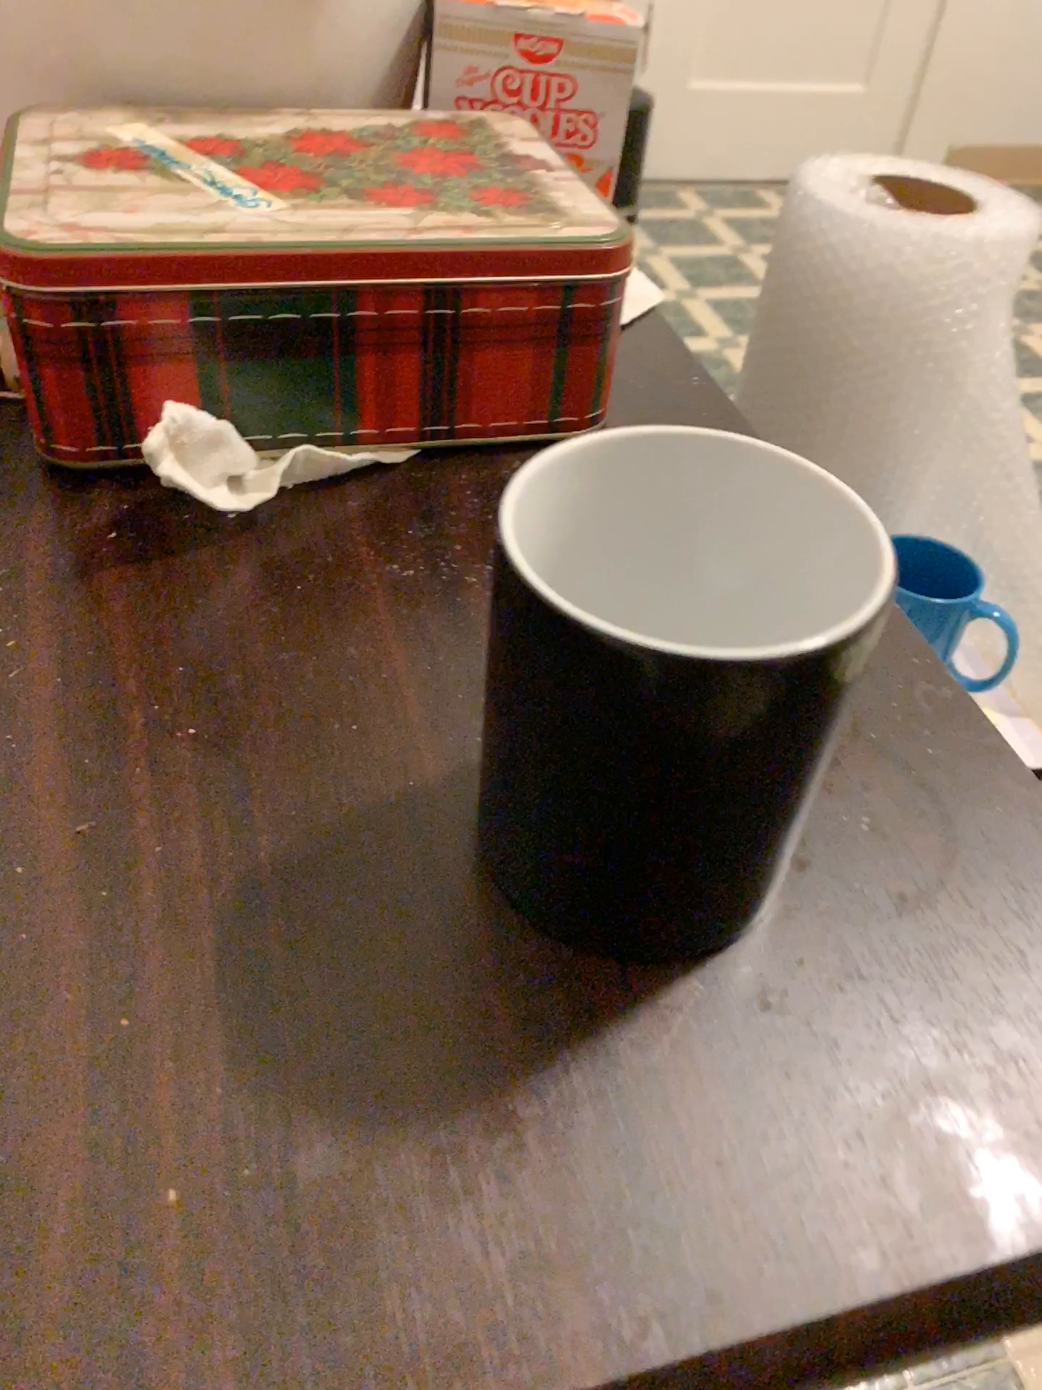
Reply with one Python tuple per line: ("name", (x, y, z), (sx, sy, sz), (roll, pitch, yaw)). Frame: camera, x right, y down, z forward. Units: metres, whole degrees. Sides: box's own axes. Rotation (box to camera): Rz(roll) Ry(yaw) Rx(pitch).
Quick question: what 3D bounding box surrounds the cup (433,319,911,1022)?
("cup", (0.039, -0.013, 0.267), (0.080, 0.099, 0.131), (14, 43, 9))
